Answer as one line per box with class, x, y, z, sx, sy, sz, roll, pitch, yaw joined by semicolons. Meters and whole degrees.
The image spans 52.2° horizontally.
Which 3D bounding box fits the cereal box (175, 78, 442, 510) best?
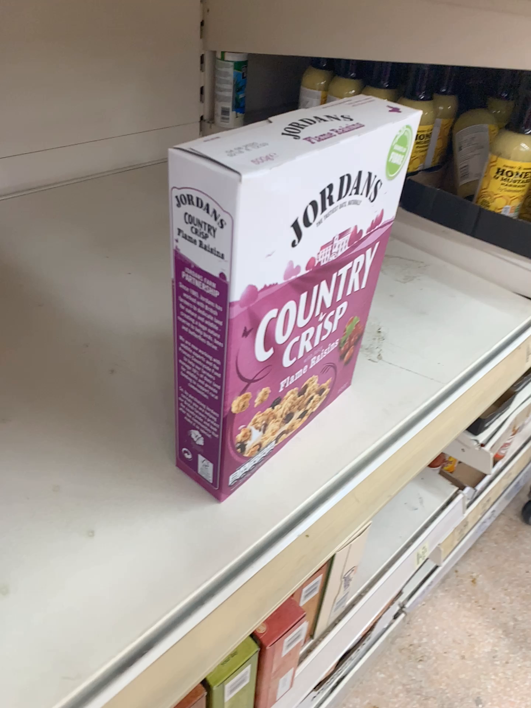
cereal box;0.026;-0.041;0.379;0.050;0.248;0.191;29;44;27
